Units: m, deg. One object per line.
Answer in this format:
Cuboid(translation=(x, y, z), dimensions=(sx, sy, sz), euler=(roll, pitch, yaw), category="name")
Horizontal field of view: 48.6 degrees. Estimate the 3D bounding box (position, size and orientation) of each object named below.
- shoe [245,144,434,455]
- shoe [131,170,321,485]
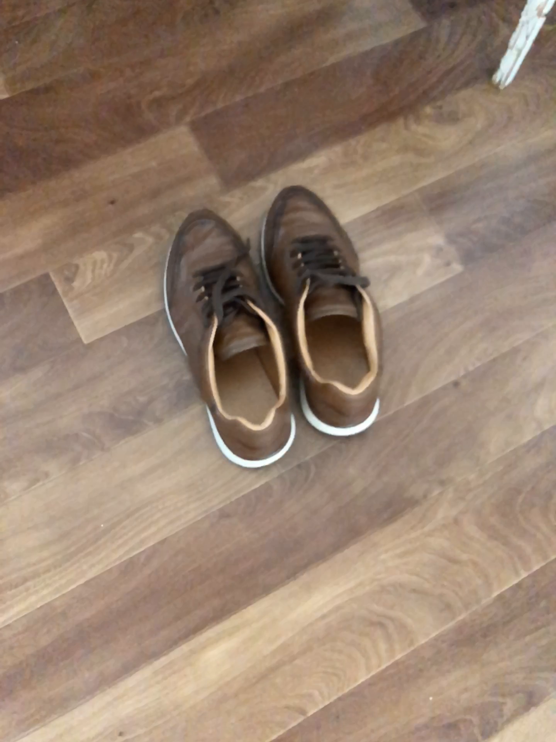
Cuboid(translation=(0.050, -0.071, 0.615), dimensions=(0.110, 0.090, 0.280), euler=(-11, 76, -7), category="shoe")
Cuboid(translation=(-0.055, -0.042, 0.606), dimensions=(0.100, 0.090, 0.280), euler=(-16, 76, -8), category="shoe")
